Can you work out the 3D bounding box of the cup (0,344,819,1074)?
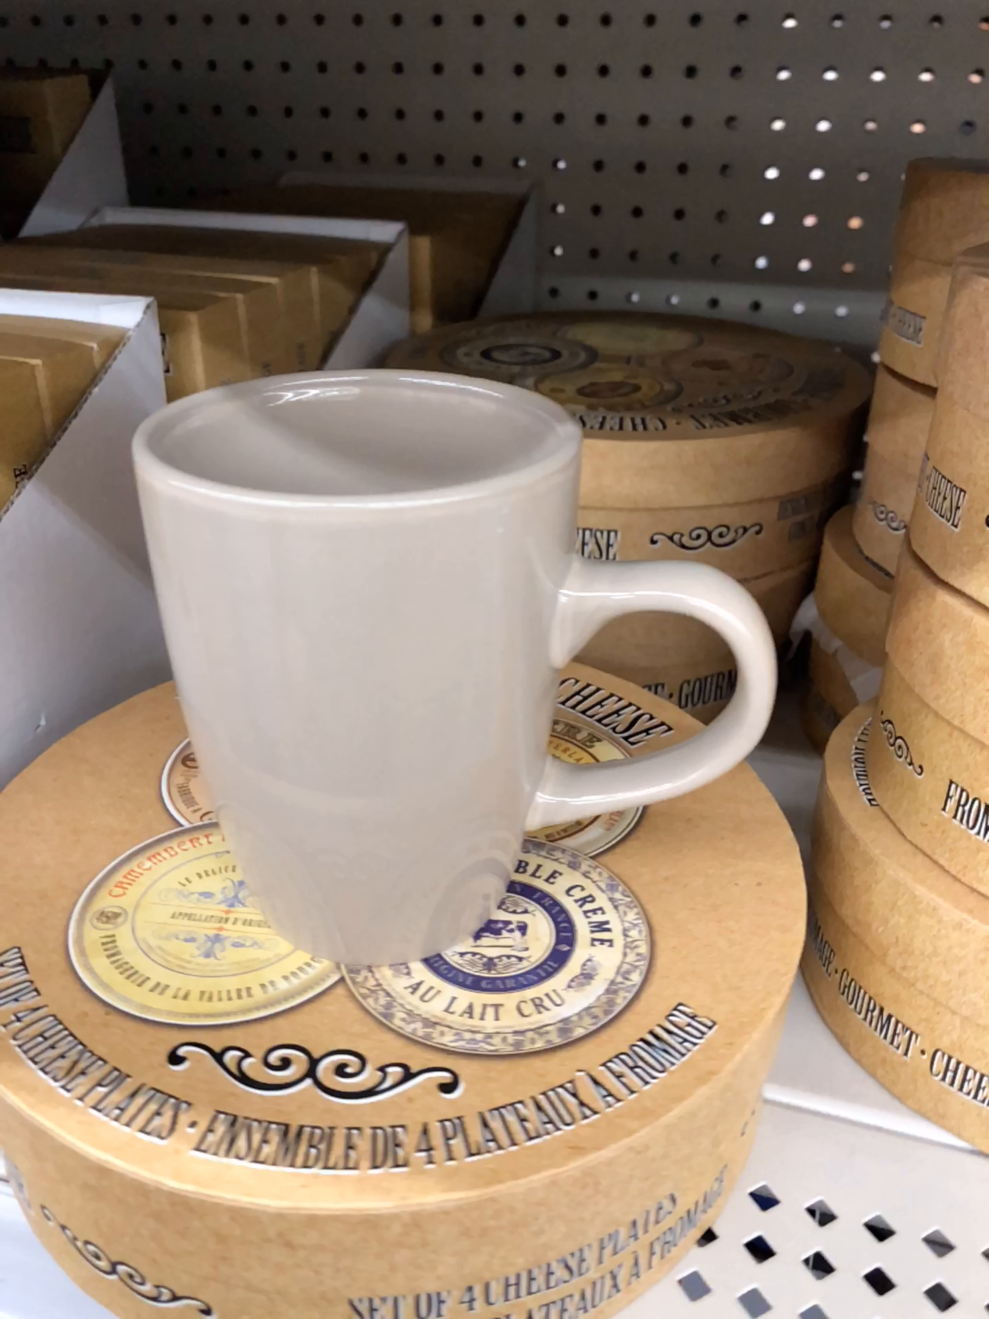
[{"bbox_3d":[-0.010,-0.001,0.232,0.130,0.100,0.090,10,30,18],"label":"cup"}]
